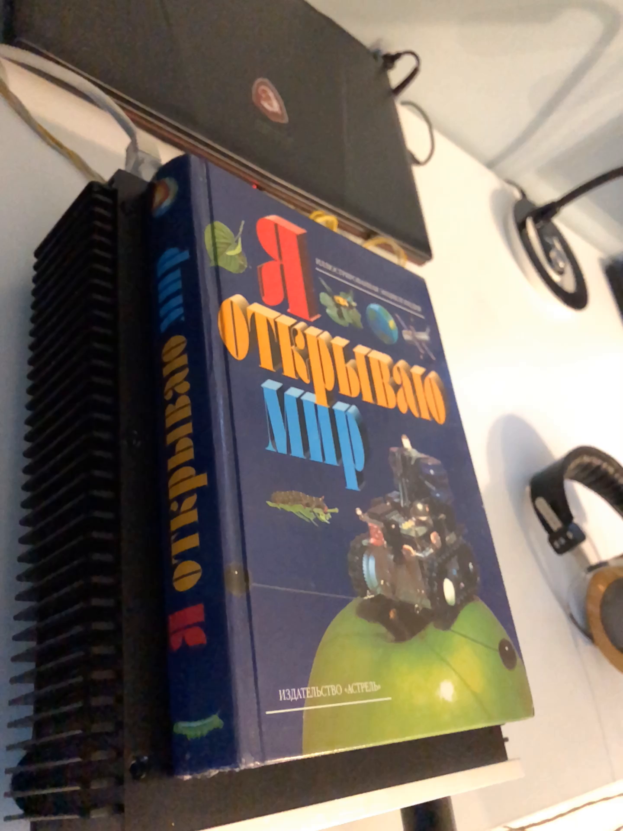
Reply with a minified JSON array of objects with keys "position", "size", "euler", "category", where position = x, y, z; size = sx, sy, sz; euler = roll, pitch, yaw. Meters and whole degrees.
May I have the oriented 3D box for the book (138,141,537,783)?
[{"position":[0.012,0.016,0.328],"size":[0.187,0.030,0.256],"euler":[16,55,-41],"category":"book"}]
